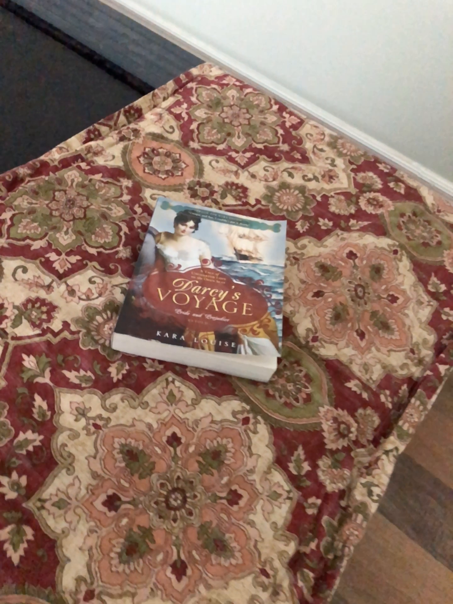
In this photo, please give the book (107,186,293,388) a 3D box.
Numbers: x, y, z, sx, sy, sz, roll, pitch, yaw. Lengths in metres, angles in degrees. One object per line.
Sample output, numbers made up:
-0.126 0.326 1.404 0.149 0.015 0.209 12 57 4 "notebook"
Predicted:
-0.016 -0.024 0.500 0.154 0.034 0.201 12 49 -4 "book"
